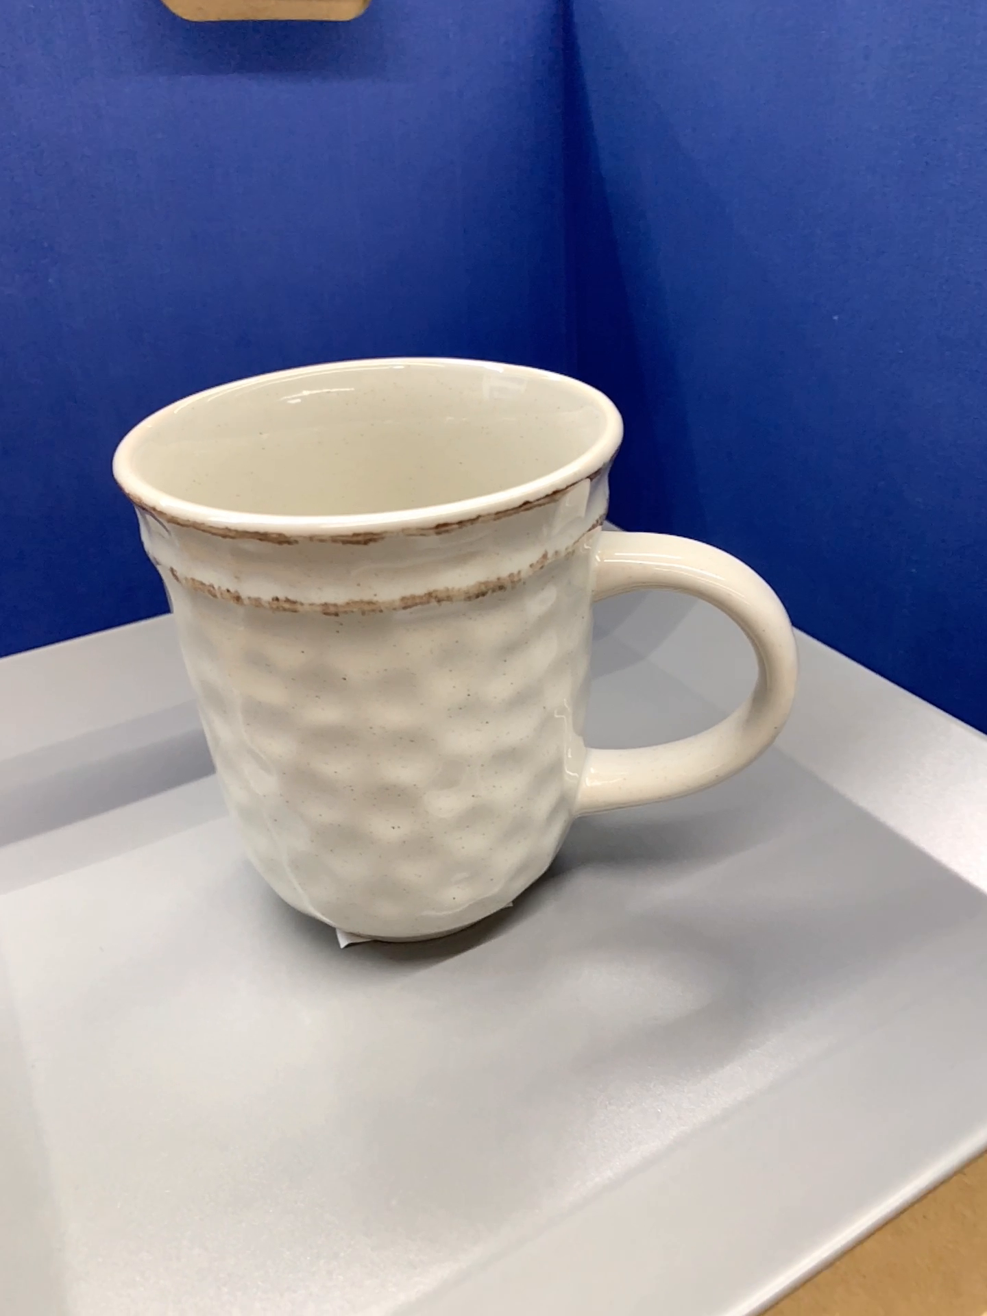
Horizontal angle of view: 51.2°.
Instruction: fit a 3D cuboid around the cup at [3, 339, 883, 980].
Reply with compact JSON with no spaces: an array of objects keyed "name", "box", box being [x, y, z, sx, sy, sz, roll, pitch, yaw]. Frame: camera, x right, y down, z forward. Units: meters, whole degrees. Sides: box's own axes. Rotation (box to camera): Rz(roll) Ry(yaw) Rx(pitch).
[{"name":"cup","box":[-0.008,-0.009,0.207,0.123,0.082,0.102,-4,28,-3]}]
